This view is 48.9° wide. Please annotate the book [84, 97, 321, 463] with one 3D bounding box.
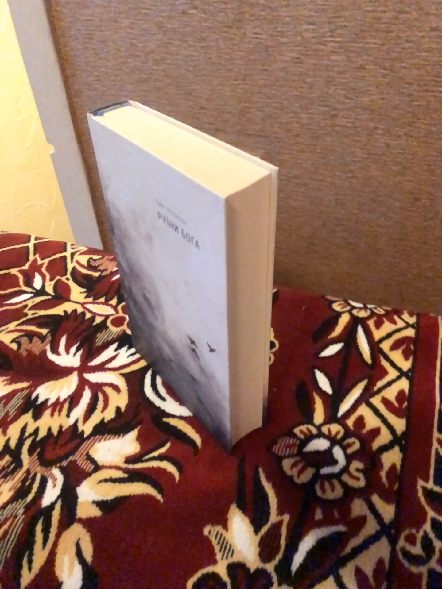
[{"bbox_3d":[-0.014,-0.006,0.324,0.048,0.200,0.145,-29,47,-27],"label":"book"}]
